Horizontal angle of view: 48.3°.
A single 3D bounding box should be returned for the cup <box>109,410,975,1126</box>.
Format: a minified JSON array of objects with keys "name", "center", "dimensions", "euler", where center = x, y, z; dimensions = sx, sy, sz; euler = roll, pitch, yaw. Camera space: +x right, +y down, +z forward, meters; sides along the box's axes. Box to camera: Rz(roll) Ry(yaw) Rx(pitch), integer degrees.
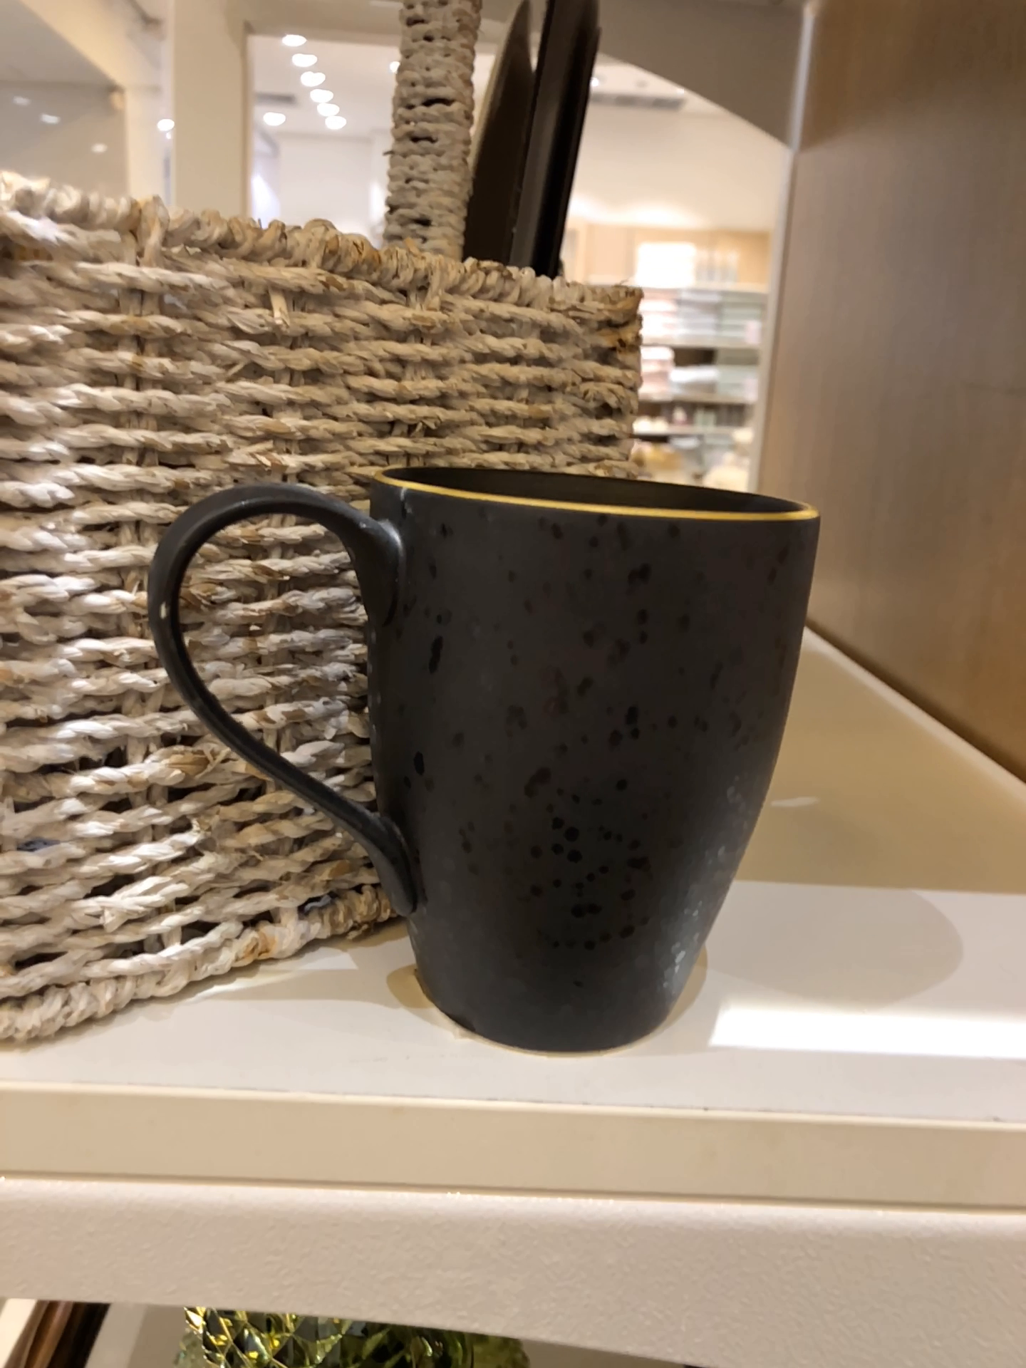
[{"name":"cup","center":[-0.001,0.006,0.205],"dimensions":[0.120,0.100,0.080],"euler":[0,15,-11]}]
